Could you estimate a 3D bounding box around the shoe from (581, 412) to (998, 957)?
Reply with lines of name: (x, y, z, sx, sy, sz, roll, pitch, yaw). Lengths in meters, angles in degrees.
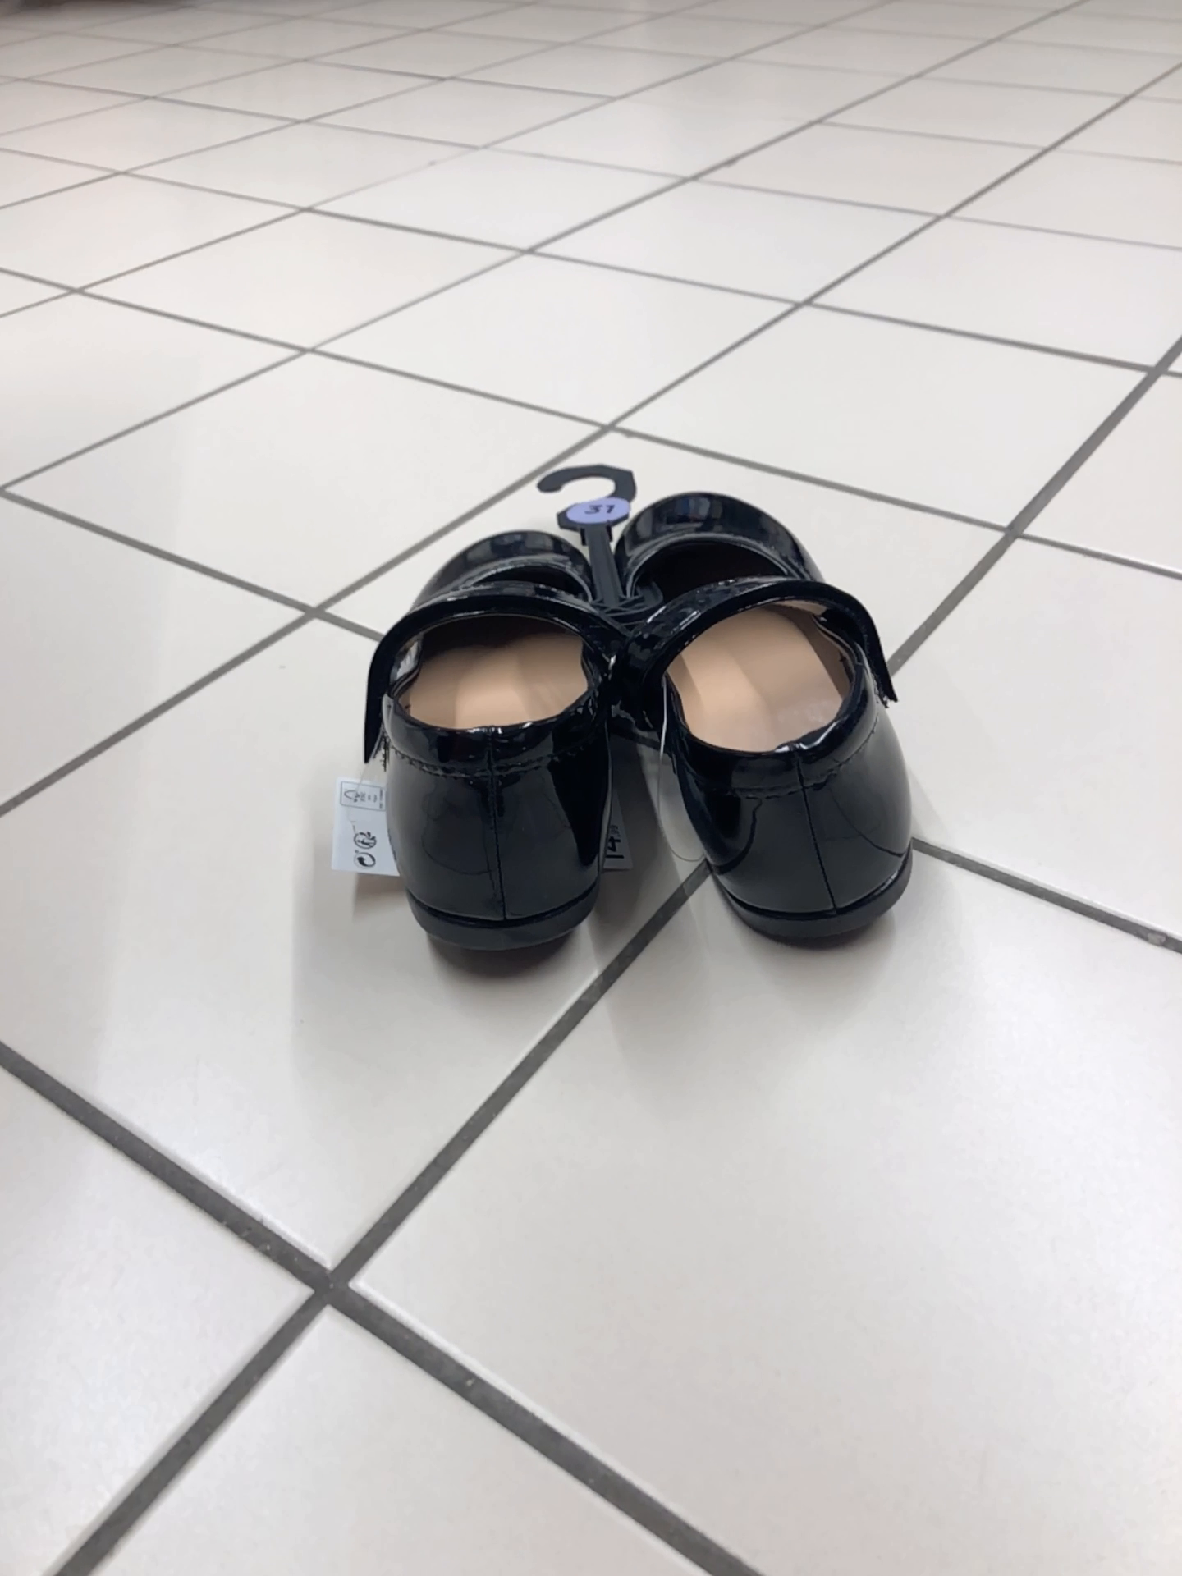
shoe: (0.047, -0.045, 0.399, 0.079, 0.056, 0.205, -5, 38, -3)

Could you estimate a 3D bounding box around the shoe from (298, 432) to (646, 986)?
shoe: (-0.033, -0.039, 0.396, 0.079, 0.052, 0.211, -4, 38, -2)
